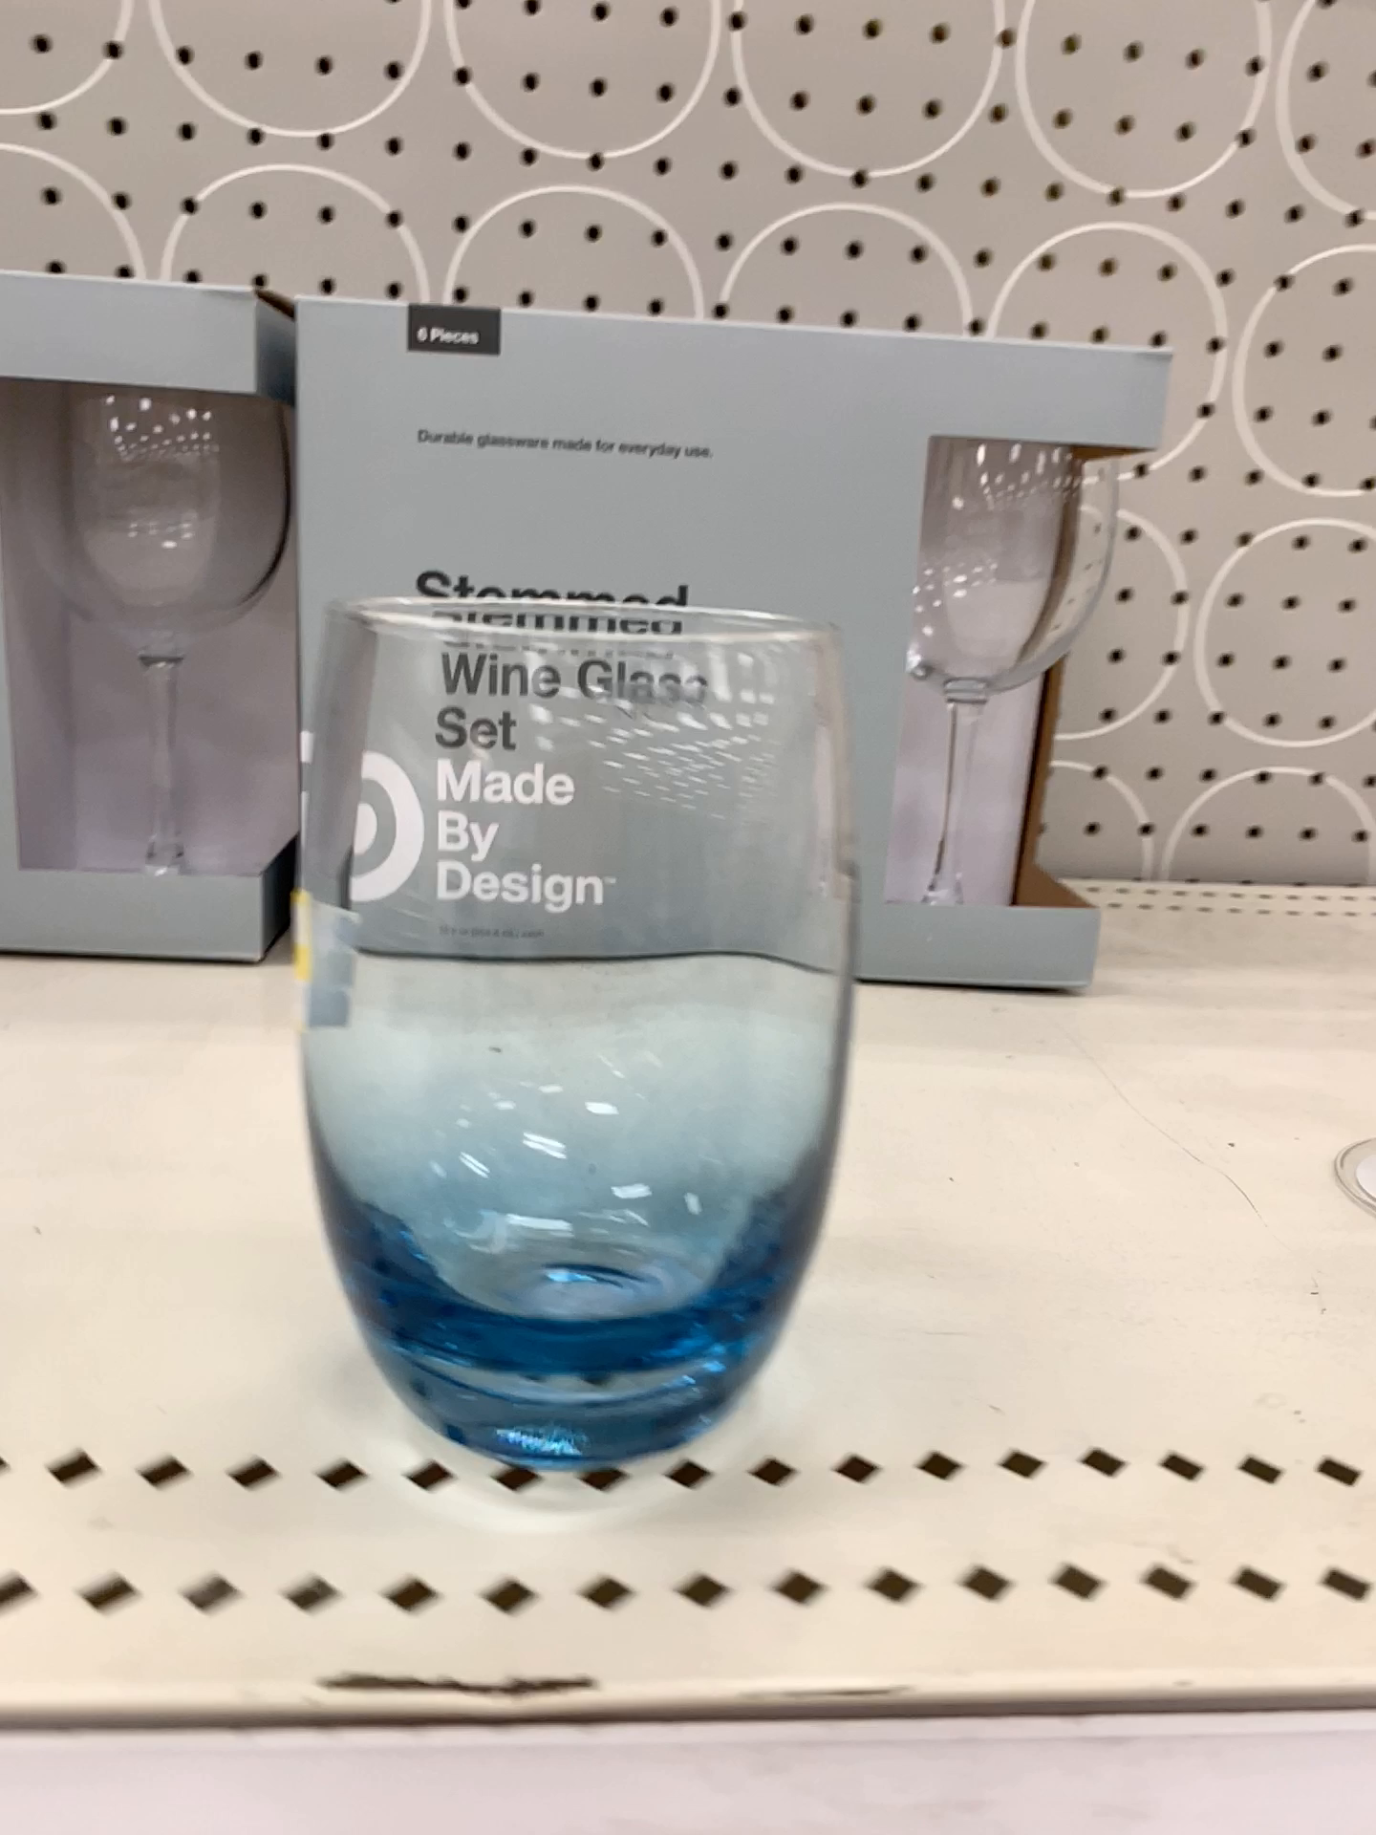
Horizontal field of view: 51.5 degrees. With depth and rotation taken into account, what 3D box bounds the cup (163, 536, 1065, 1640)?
[{"bbox_3d":[-0.018,0.010,0.209,0.090,0.120,0.090,3,16,-1],"label":"cup"}]
